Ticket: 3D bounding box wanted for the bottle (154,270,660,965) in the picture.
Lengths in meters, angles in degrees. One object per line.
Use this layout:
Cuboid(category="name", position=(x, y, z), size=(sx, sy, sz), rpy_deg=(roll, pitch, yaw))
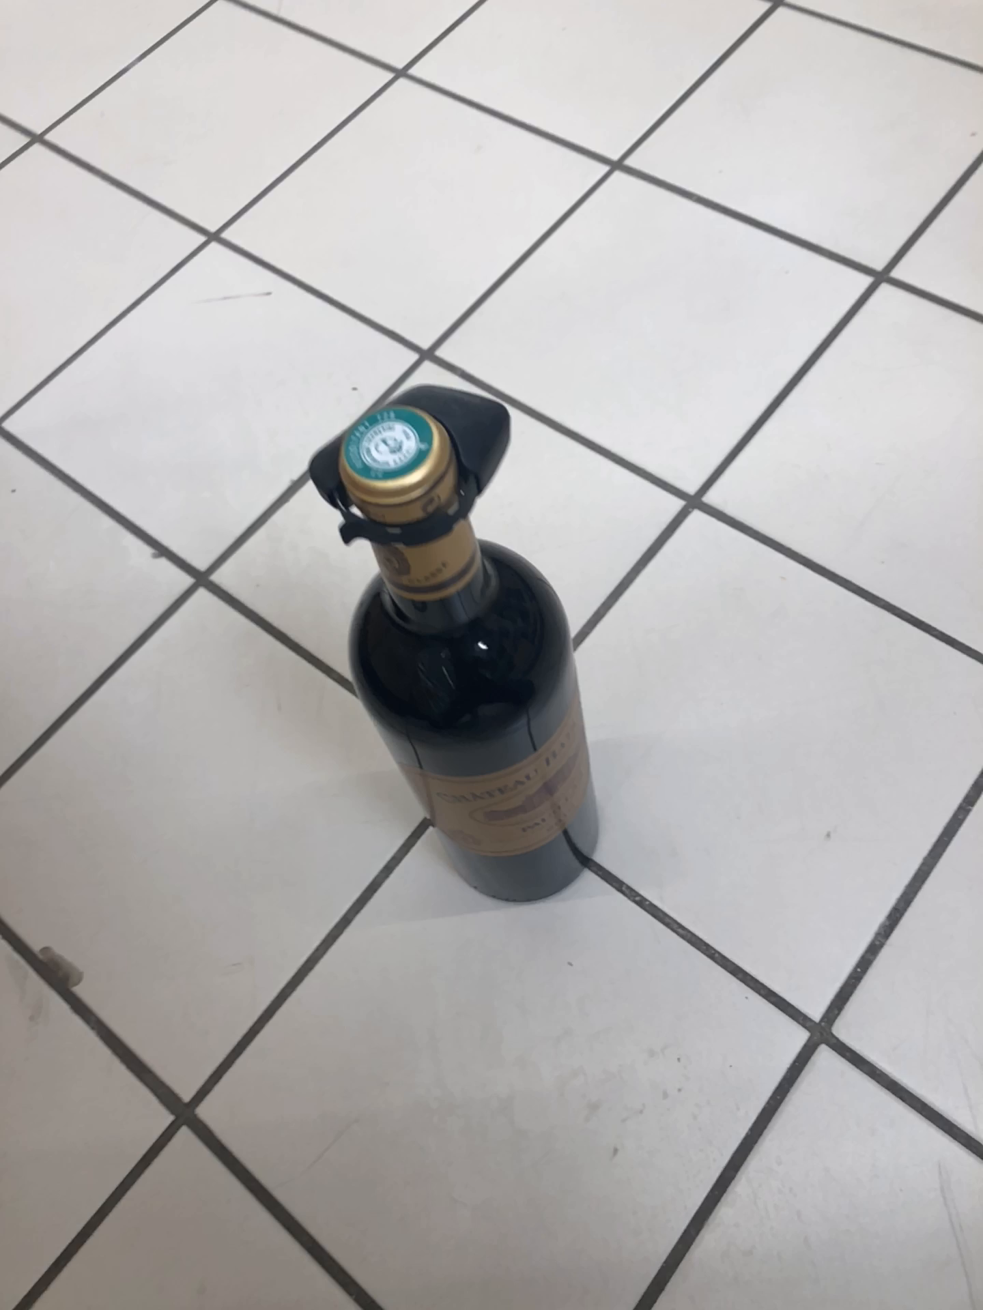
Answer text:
Cuboid(category="bottle", position=(-0.004, 0.018, 0.394), size=(0.090, 0.289, 0.090), rpy_deg=(-3, 62, 6))
